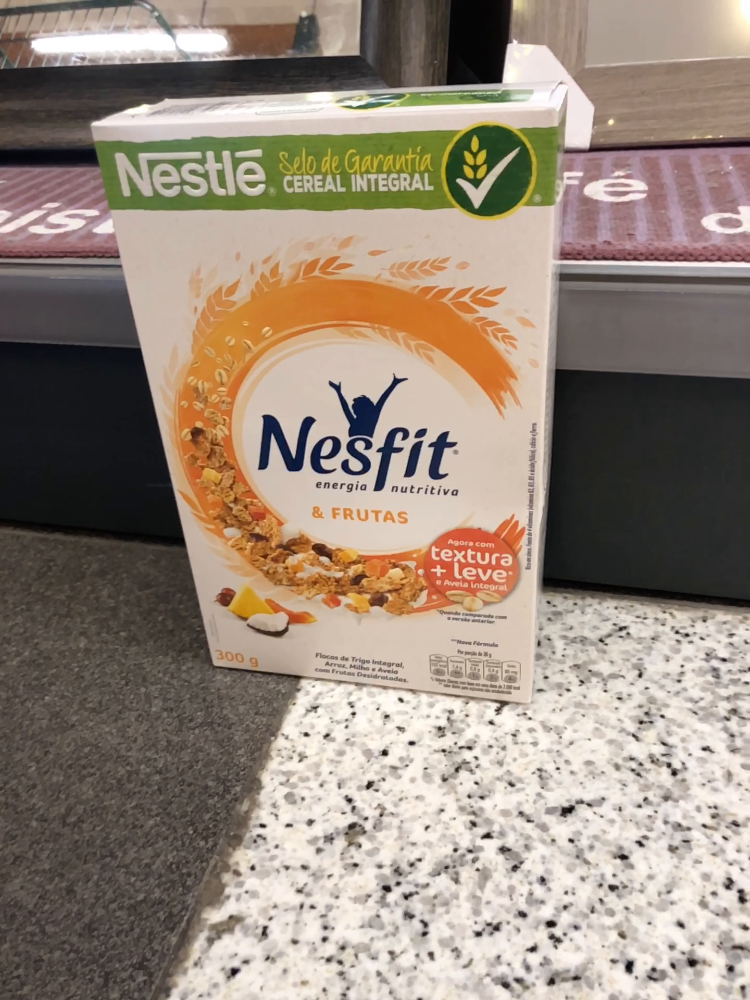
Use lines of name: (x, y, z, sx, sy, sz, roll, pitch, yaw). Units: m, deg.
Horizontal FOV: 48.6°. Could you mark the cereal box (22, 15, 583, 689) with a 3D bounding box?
cereal box: (-0.012, -0.043, 0.333, 0.170, 0.248, 0.060, 3, 34, 12)
